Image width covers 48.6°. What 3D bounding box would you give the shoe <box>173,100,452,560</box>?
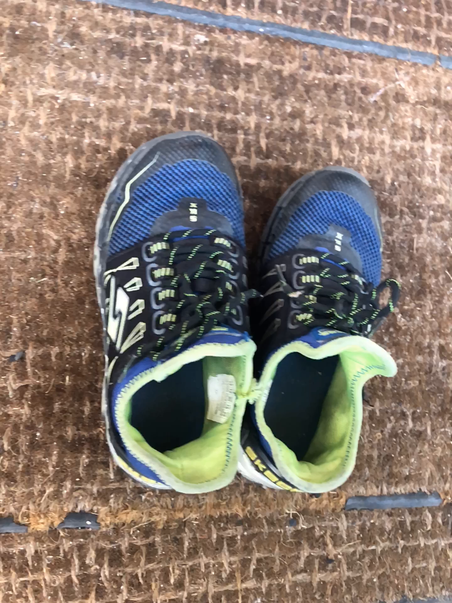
[{"bbox_3d":[0.051,0.014,0.286,0.090,0.100,0.200,20,81,-11],"label":"shoe"}]

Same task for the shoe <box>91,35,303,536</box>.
[{"bbox_3d":[-0.025,-0.009,0.288,0.090,0.100,0.230,-2,85,-14],"label":"shoe"}]
